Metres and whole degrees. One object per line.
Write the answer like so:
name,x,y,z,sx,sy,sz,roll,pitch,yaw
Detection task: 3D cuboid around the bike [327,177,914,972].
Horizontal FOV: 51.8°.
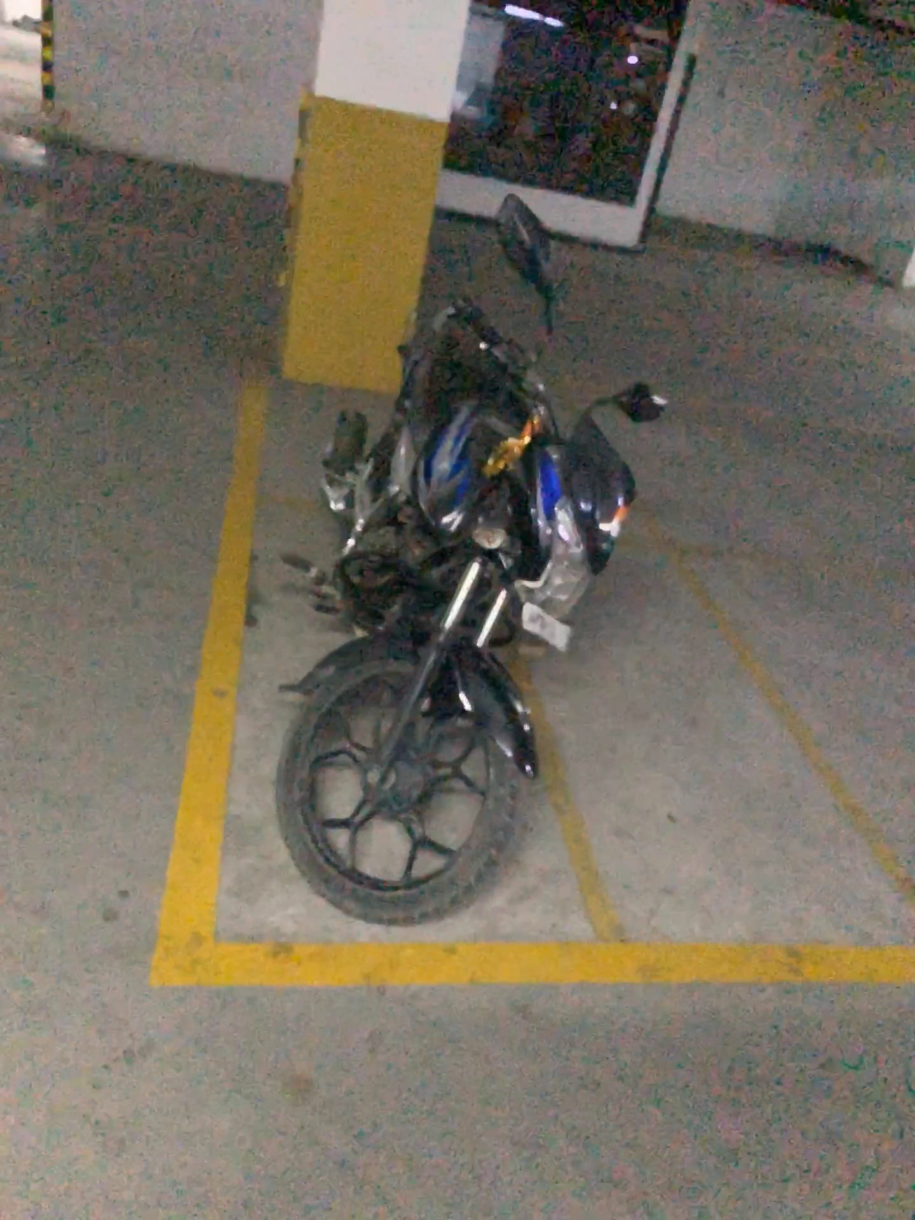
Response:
bike,0.243,-0.330,2.629,0.851,1.205,2.221,4,30,-16
